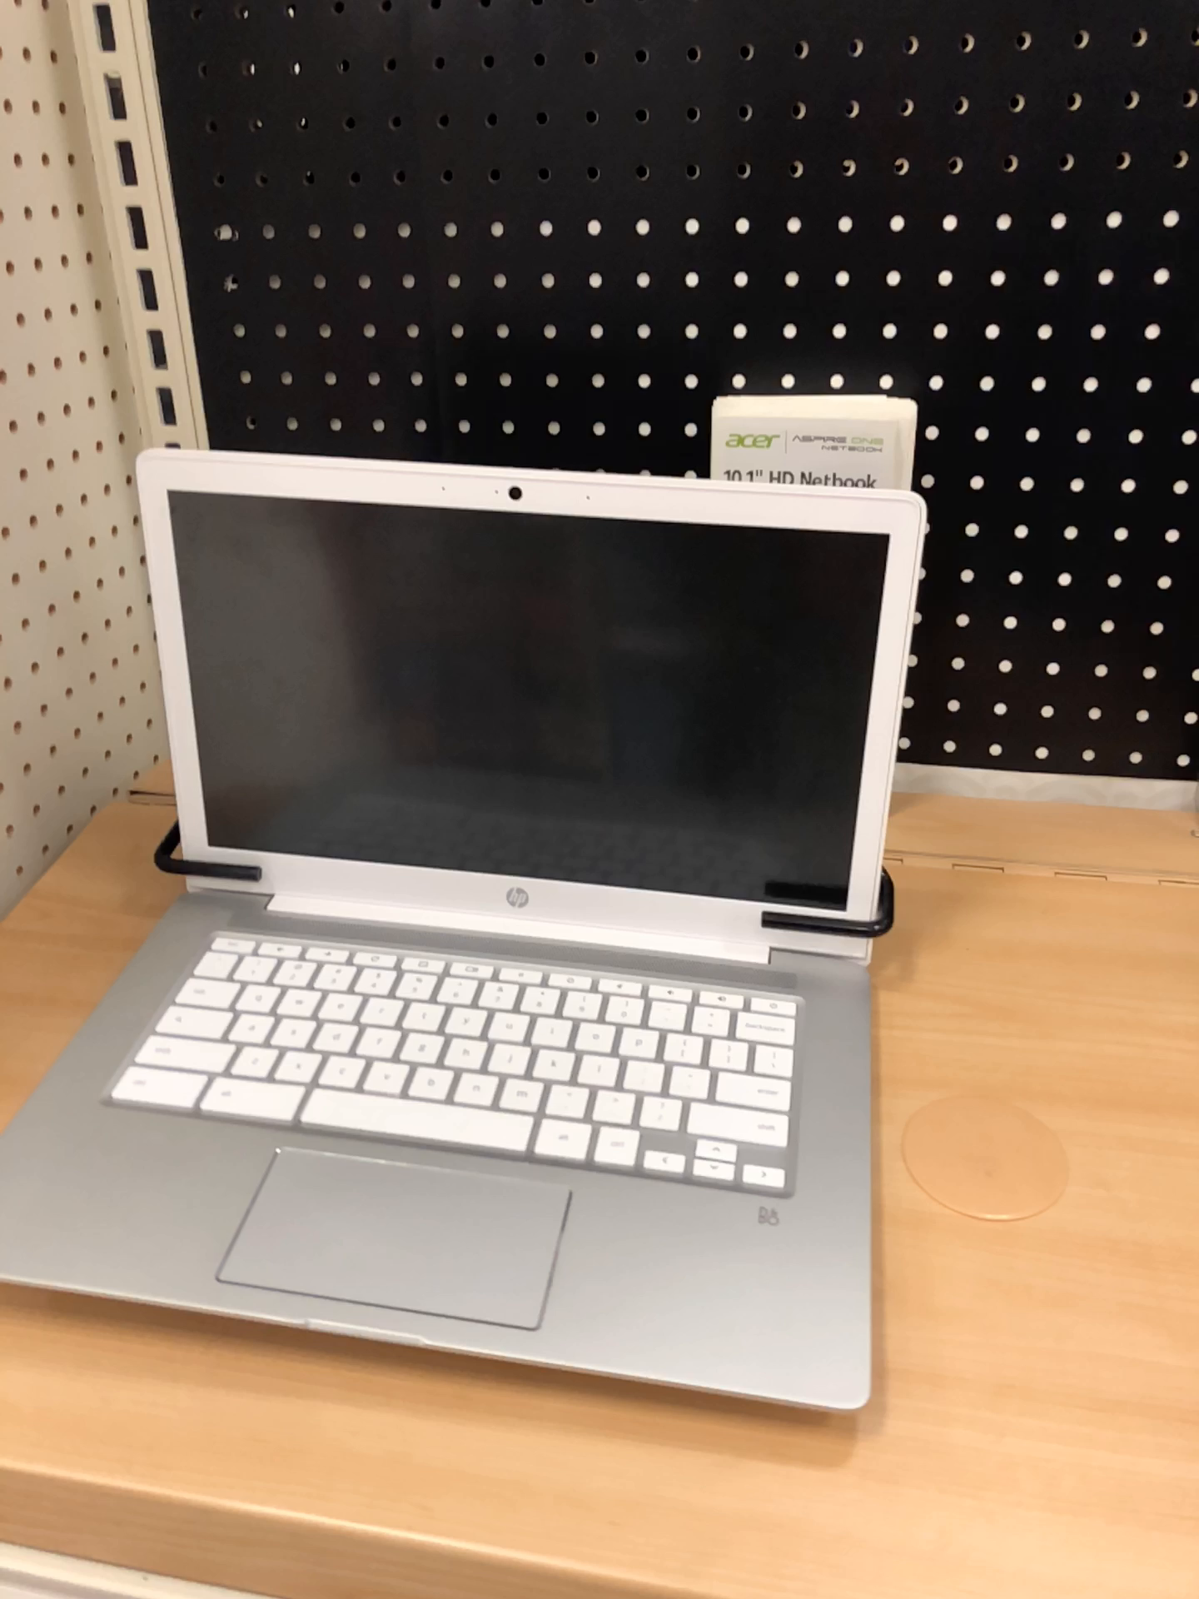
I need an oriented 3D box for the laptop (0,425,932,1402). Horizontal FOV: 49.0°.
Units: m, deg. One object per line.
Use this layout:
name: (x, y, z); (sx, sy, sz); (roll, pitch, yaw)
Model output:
laptop: (-0.056, 0.009, 0.508); (0.333, 0.198, 0.281); (4, 31, 8)
